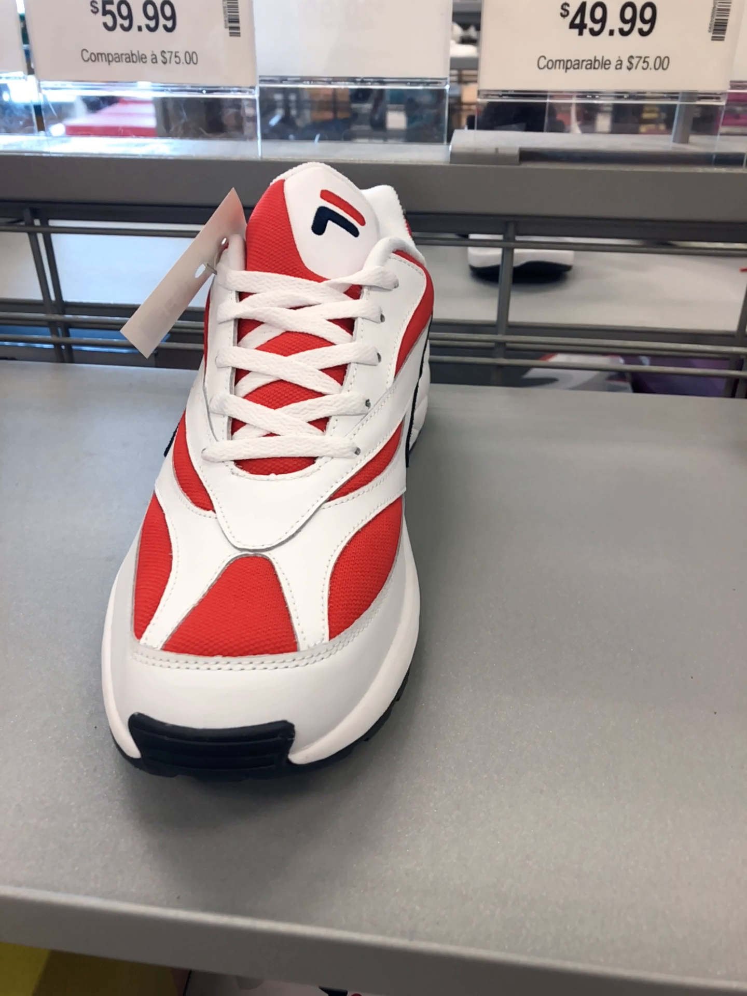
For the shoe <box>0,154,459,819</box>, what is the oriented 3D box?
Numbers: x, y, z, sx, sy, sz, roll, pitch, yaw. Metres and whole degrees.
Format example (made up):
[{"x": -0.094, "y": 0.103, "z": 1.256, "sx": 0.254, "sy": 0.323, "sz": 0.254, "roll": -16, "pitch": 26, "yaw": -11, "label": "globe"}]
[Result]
[{"x": -0.035, "y": -0.038, "z": 0.328, "sx": 0.120, "sy": 0.129, "sz": 0.272, "roll": 4, "pitch": 34, "yaw": 6, "label": "shoe"}]
